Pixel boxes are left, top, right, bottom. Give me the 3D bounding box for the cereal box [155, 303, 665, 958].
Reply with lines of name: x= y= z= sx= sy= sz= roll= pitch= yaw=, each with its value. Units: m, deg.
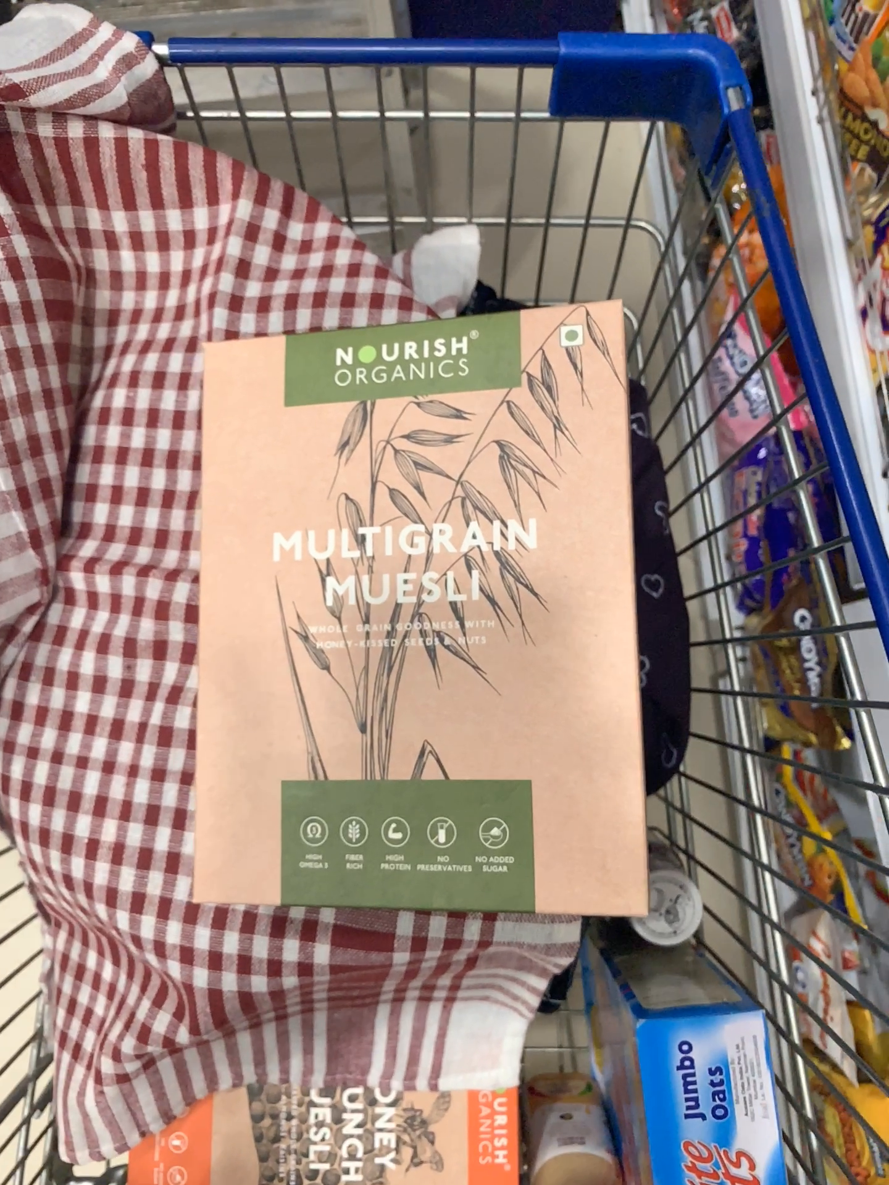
cereal box: x=-0.012 y=0.013 z=0.319 sx=0.160 sy=0.050 sz=0.200 roll=-2 pitch=82 yaw=10
